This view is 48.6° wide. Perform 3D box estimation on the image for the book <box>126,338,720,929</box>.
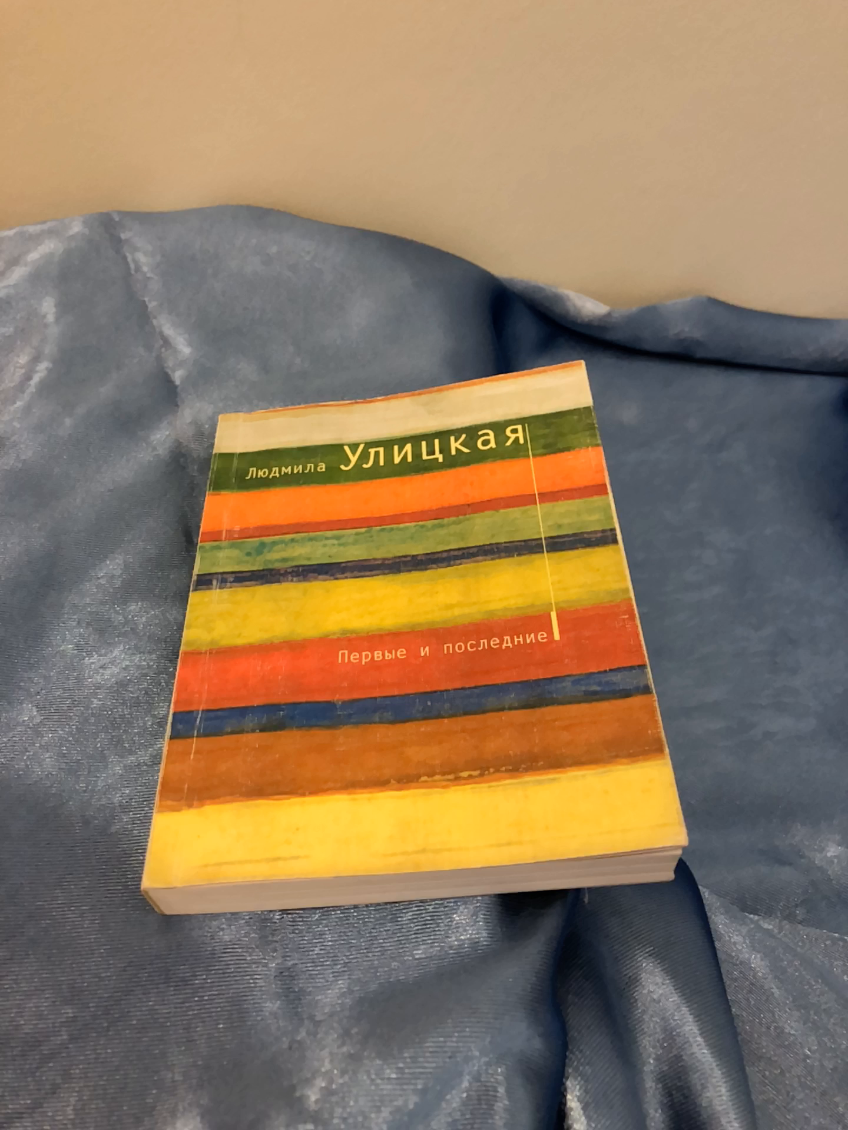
[{"bbox_3d":[-0.003,0.008,0.265,0.129,0.026,0.168,-7,50,6],"label":"book"}]
